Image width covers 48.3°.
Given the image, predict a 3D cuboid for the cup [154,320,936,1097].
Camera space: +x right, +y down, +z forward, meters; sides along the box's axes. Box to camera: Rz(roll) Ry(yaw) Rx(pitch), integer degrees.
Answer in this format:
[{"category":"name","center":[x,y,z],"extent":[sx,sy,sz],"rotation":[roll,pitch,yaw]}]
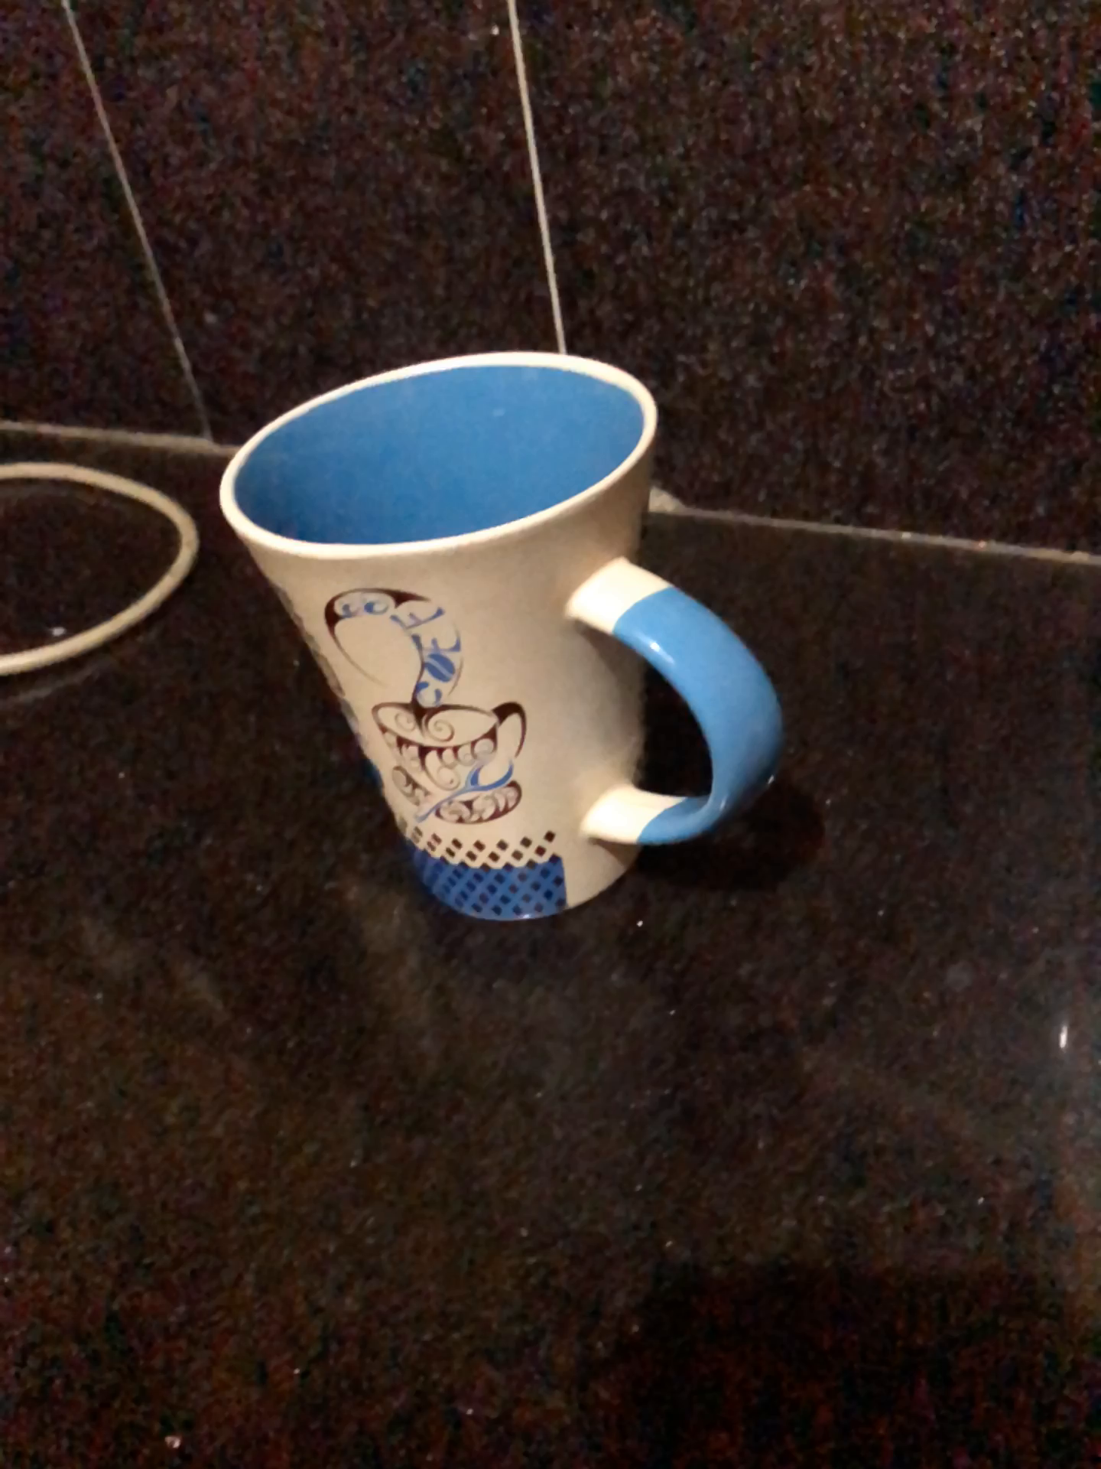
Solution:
[{"category":"cup","center":[0.003,-0.016,0.275],"extent":[0.130,0.109,0.090],"rotation":[23,48,37]}]
